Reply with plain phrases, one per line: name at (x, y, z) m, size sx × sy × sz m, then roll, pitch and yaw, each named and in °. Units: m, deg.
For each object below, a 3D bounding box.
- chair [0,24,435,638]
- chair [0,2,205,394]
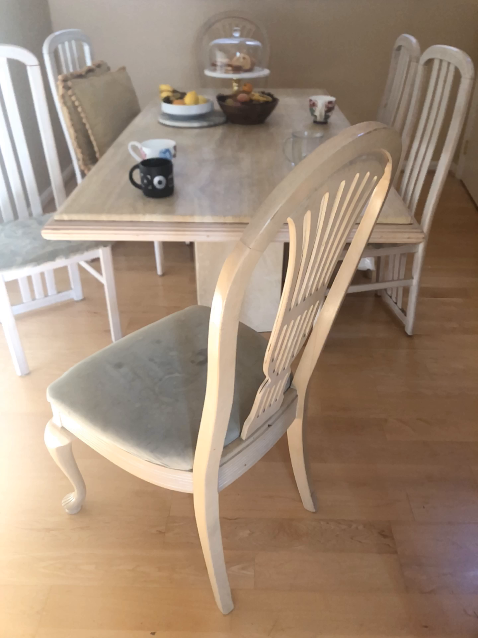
chair at (-0.123, 0.100, 1.219) m, size 0.631 × 1.289 × 0.594 m, roll 27°, pitch 42°, yaw 33°
chair at (-0.627, -0.534, 2.311) m, size 0.633 × 1.448 × 0.673 m, roll -18°, pitch 34°, yaw -25°
